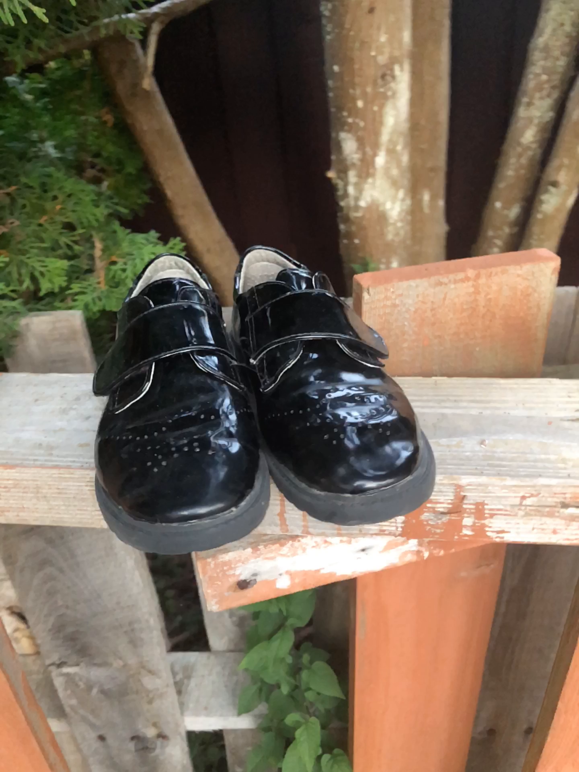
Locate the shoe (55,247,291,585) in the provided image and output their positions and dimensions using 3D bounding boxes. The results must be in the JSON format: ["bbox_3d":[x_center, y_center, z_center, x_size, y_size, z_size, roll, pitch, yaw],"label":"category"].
[{"bbox_3d":[-0.072,-0.007,0.375,0.090,0.070,0.242,-9,30,-10],"label":"shoe"}]

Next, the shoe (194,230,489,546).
[{"bbox_3d":[0.011,-0.021,0.375,0.090,0.070,0.232,-11,30,-13],"label":"shoe"}]
